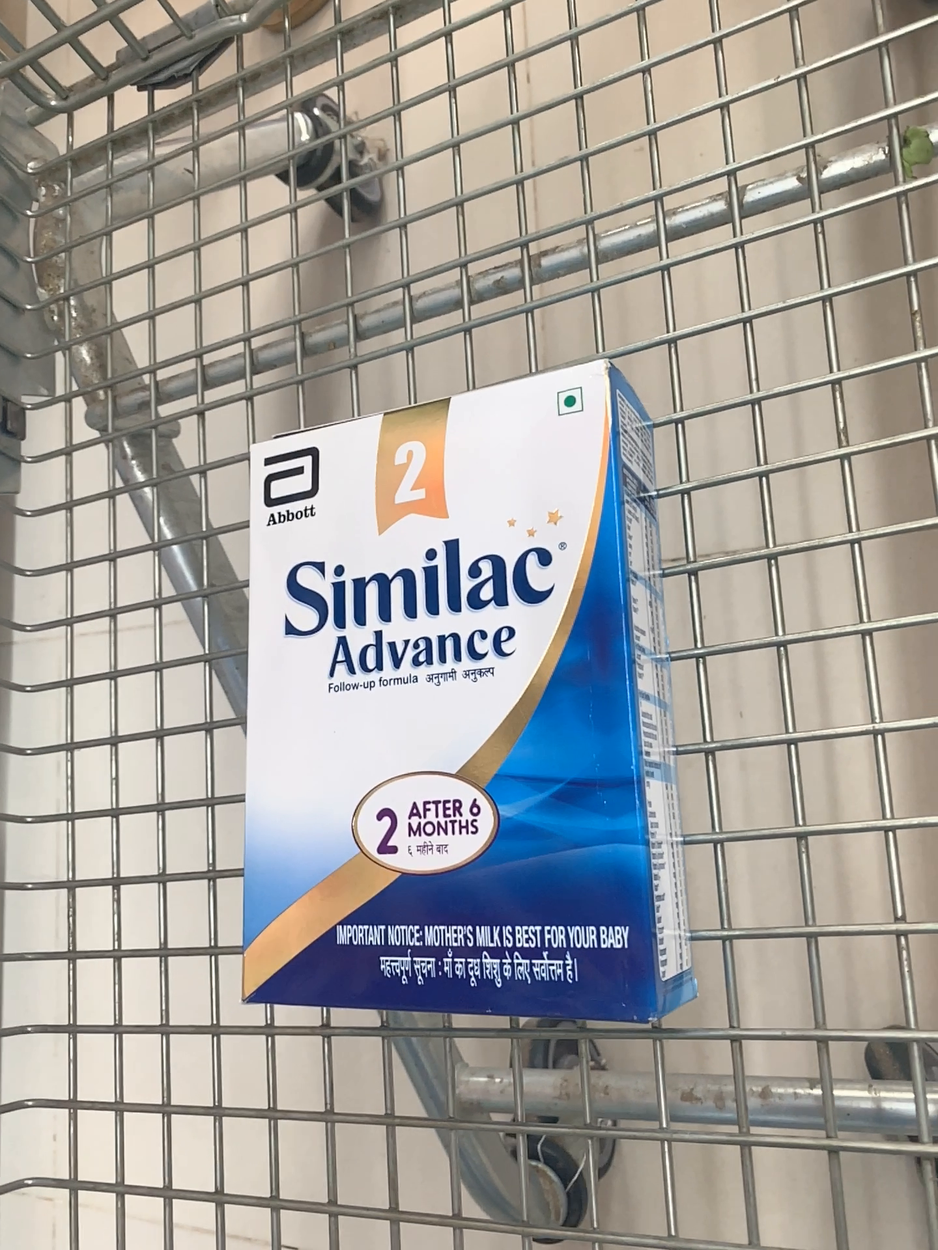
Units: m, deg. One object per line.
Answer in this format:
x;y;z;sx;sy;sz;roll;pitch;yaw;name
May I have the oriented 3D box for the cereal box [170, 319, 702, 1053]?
-0.014;0.023;0.316;0.150;0.060;0.200;-8;75;24;cereal box
